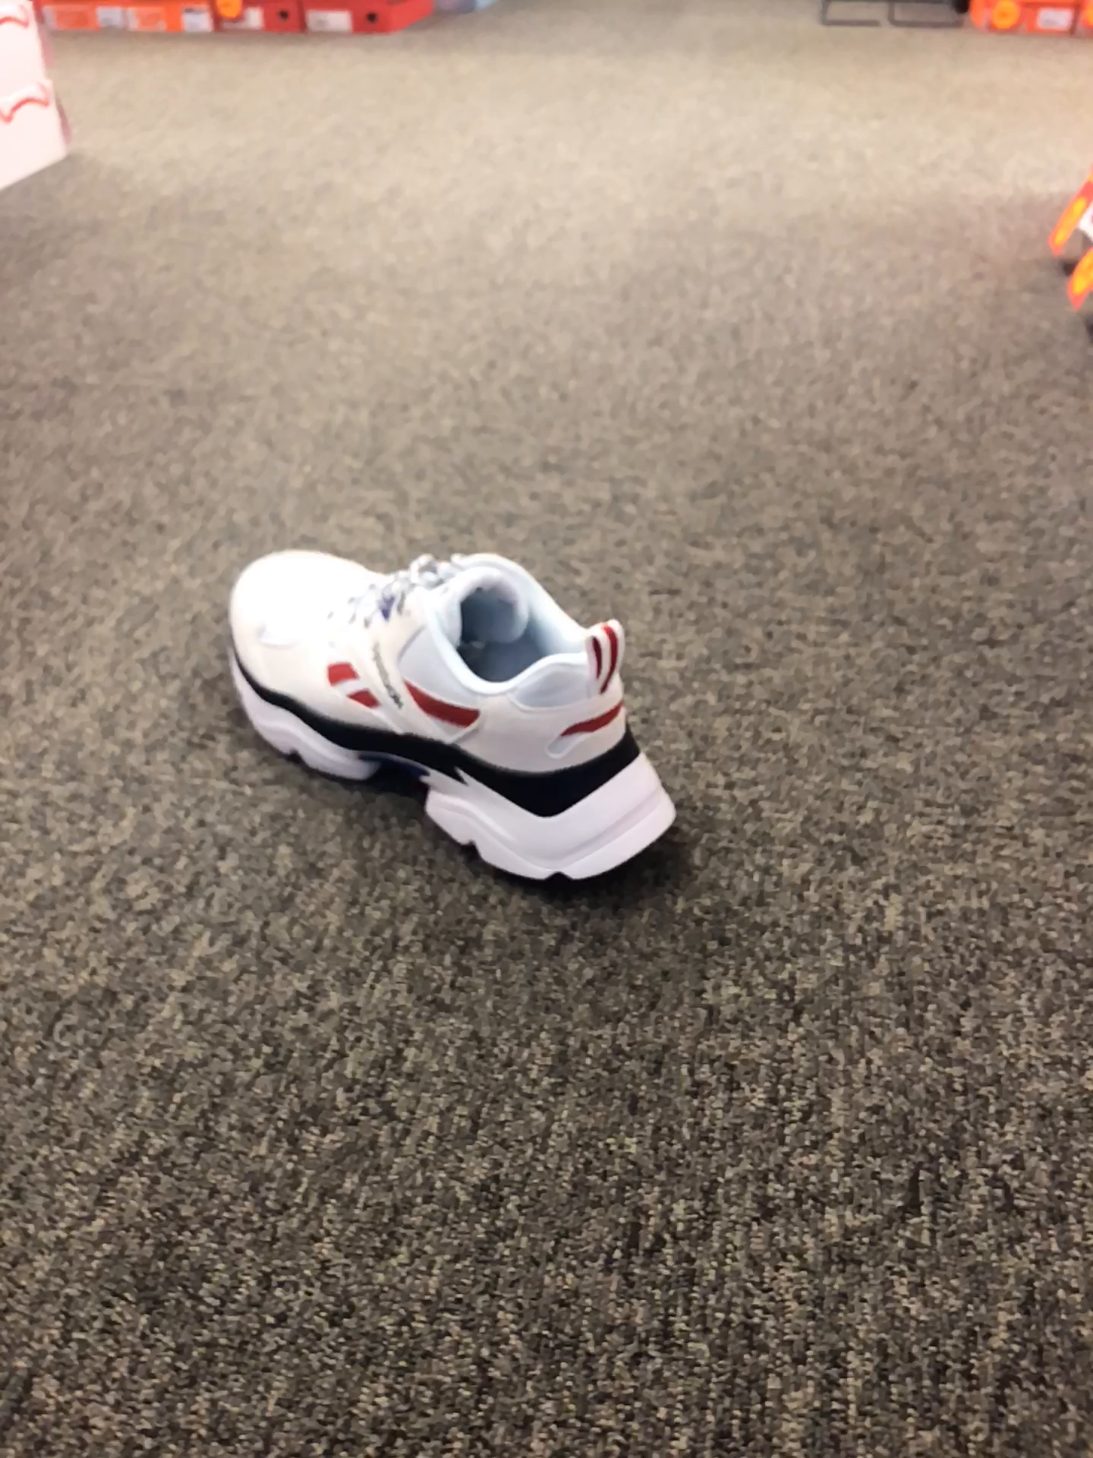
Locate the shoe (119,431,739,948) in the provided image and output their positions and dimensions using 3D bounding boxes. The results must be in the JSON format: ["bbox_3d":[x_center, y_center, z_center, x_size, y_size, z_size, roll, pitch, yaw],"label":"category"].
[{"bbox_3d":[-0.066,-0.037,0.598,0.300,0.109,0.114,28,46,33],"label":"shoe"}]
